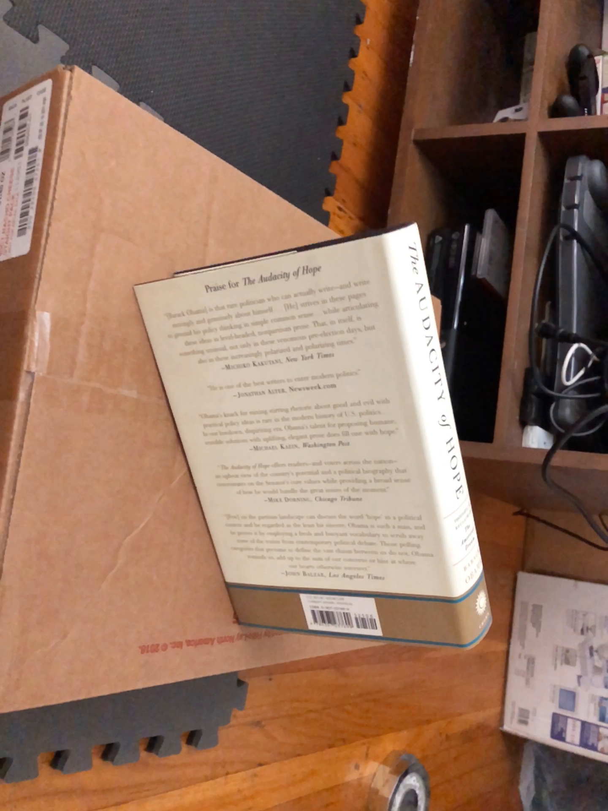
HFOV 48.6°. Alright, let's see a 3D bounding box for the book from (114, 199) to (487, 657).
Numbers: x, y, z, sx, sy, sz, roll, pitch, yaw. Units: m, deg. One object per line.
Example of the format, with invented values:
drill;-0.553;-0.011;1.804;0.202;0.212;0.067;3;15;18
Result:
book;0.004;0.021;0.413;0.060;0.169;0.250;-41;122;-56
